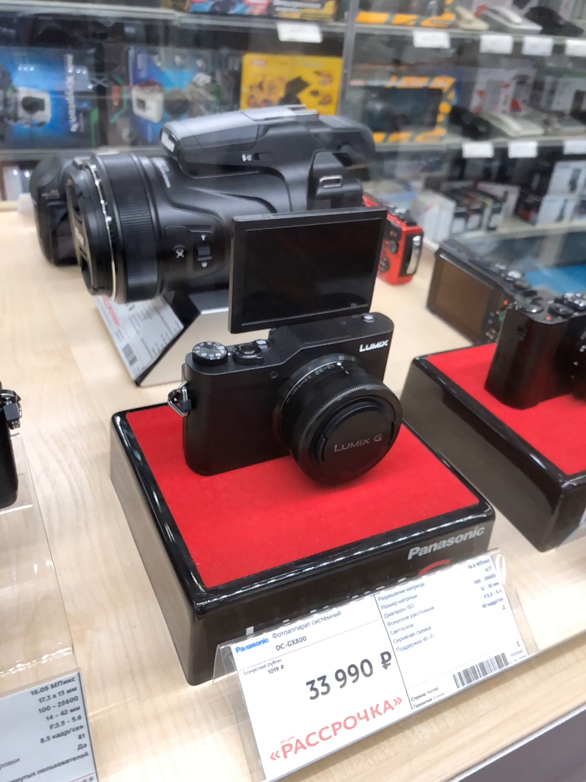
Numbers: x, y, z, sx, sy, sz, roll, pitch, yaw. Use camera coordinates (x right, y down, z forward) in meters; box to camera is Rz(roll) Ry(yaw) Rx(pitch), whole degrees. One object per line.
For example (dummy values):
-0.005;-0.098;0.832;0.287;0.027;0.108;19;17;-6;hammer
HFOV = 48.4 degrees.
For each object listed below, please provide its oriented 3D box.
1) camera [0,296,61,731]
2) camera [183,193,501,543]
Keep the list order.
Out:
-0.151;0.030;0.231;0.108;0.080;0.103;-11;36;-25;camera
0.014;-0.015;0.294;0.108;0.120;0.070;-13;37;-28;camera
